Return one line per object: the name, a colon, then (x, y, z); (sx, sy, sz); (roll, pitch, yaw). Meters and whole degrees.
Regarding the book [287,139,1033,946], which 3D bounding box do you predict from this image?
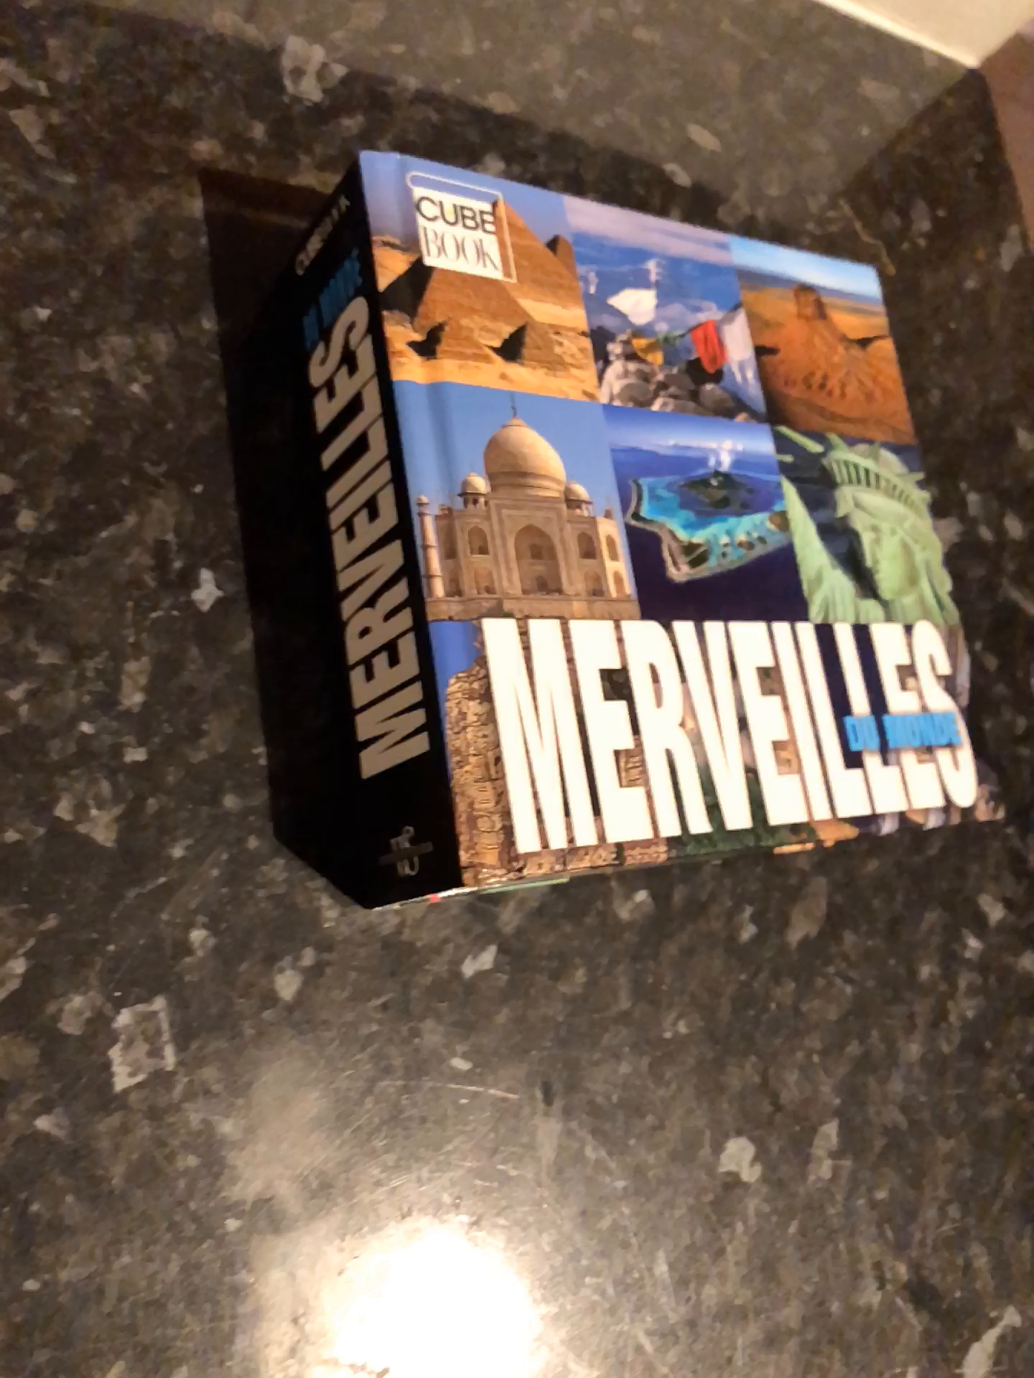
book: (0.043, -0.031, 0.289); (0.171, 0.060, 0.160); (-2, 76, -31)
